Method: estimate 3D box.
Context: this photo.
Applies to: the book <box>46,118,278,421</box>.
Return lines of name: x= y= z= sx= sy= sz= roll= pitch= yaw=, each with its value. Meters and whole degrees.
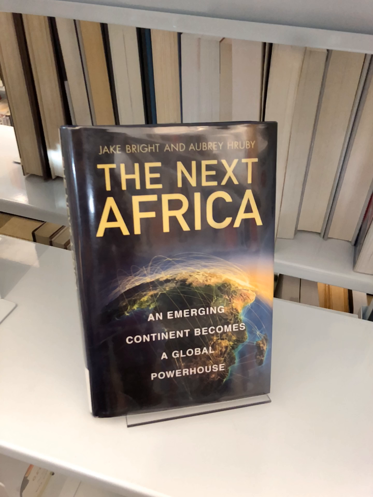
book: x=-0.012 y=0.015 z=0.307 sx=0.153 sy=0.211 sz=0.030 roll=-4 pitch=14 yaw=-11
